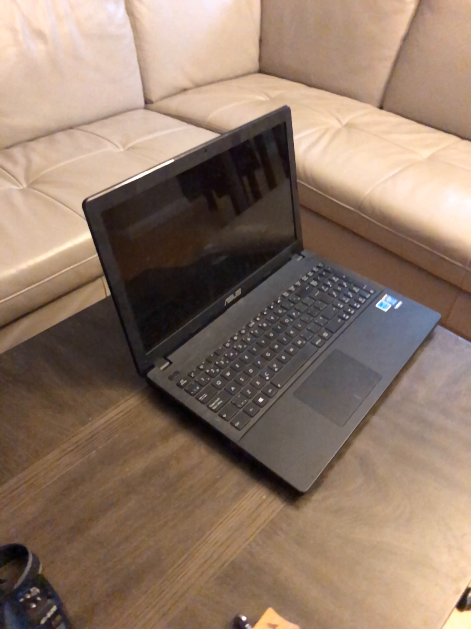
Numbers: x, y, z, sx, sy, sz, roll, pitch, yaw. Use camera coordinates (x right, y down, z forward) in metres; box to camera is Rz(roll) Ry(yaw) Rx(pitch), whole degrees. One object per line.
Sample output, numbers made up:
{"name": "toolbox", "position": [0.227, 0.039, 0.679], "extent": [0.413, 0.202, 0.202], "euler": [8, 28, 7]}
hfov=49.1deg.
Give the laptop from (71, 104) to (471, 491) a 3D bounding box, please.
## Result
{"name": "laptop", "position": [0.066, -0.057, 0.639], "extent": [0.316, 0.216, 0.357], "euler": [31, 48, 25]}
